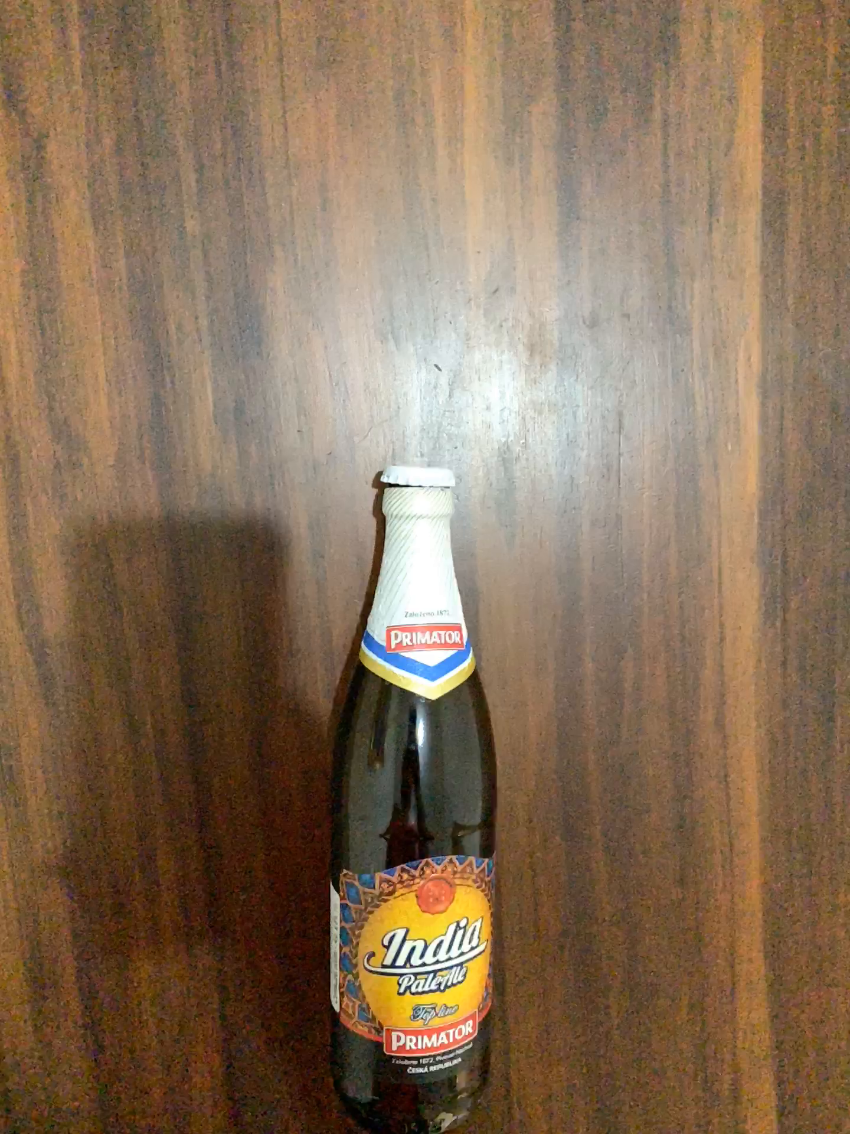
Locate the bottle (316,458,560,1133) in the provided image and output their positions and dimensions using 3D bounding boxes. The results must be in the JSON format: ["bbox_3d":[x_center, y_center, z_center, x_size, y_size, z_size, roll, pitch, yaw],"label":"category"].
[{"bbox_3d":[0.003,0.089,0.344,0.080,0.060,0.260,-2,97,-13],"label":"bottle"}]
